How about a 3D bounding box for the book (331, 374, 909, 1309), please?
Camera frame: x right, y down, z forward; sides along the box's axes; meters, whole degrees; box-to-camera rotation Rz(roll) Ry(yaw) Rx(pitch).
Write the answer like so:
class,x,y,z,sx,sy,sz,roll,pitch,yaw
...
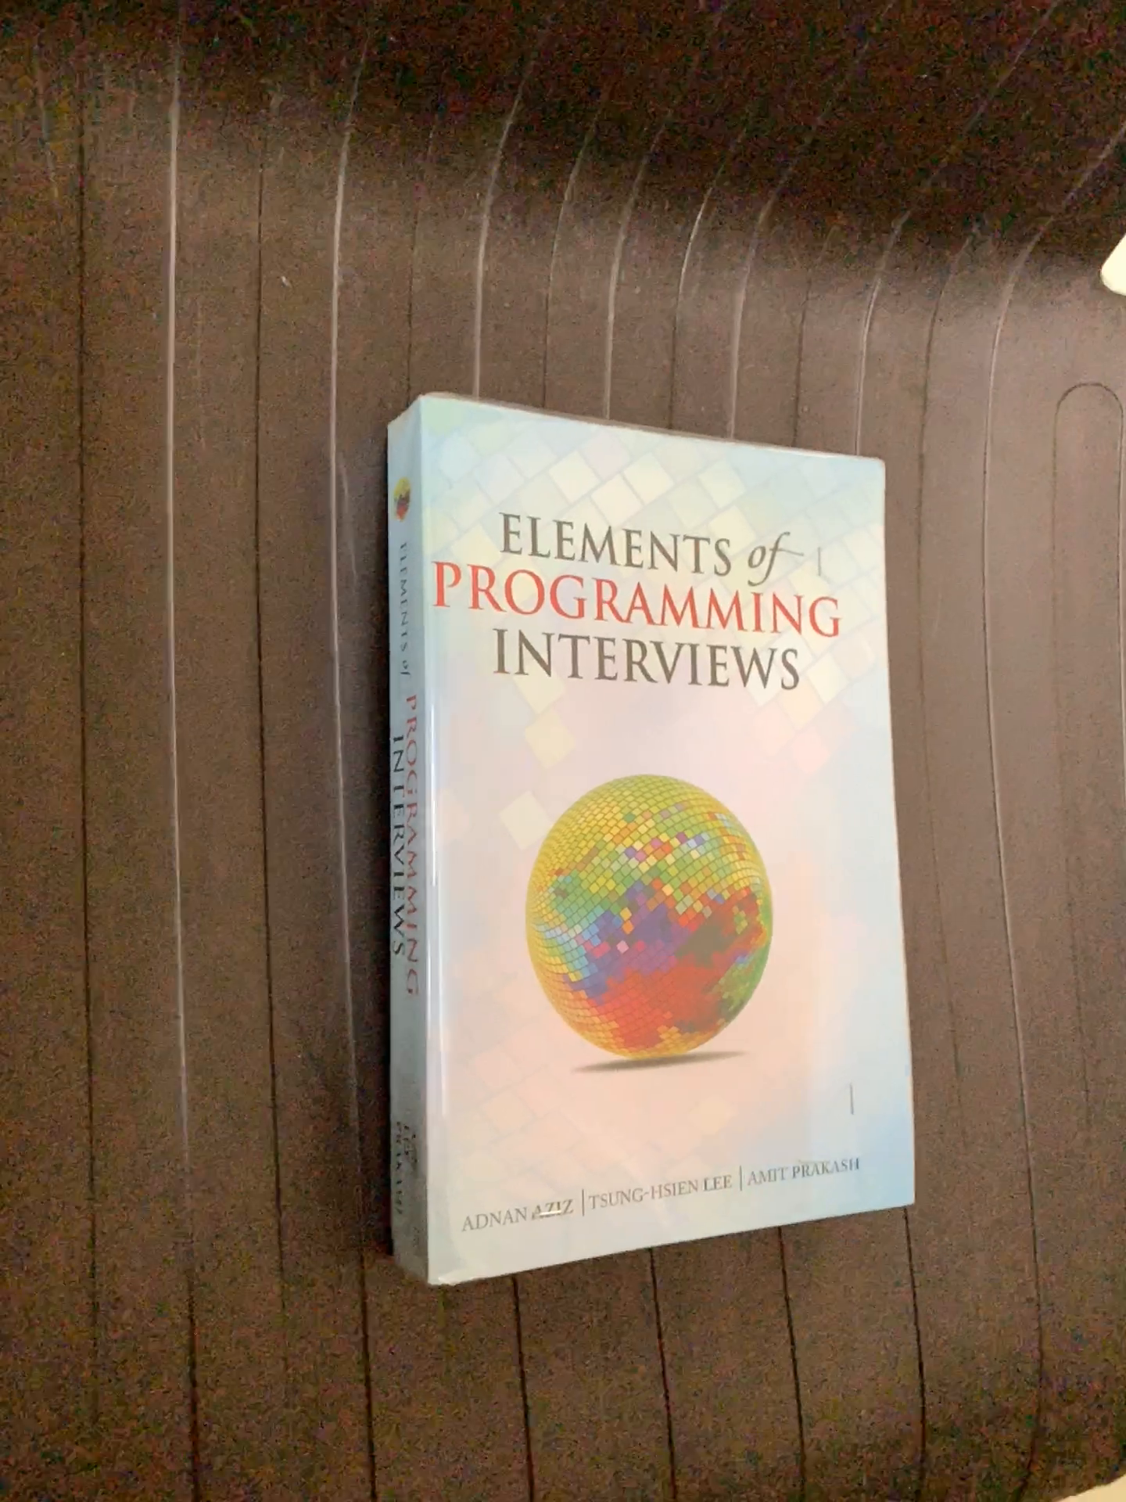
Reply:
class,x,y,z,sx,sy,sz,roll,pitch,yaw
book,0.018,0.022,0.344,0.160,0.050,0.230,2,84,-25
